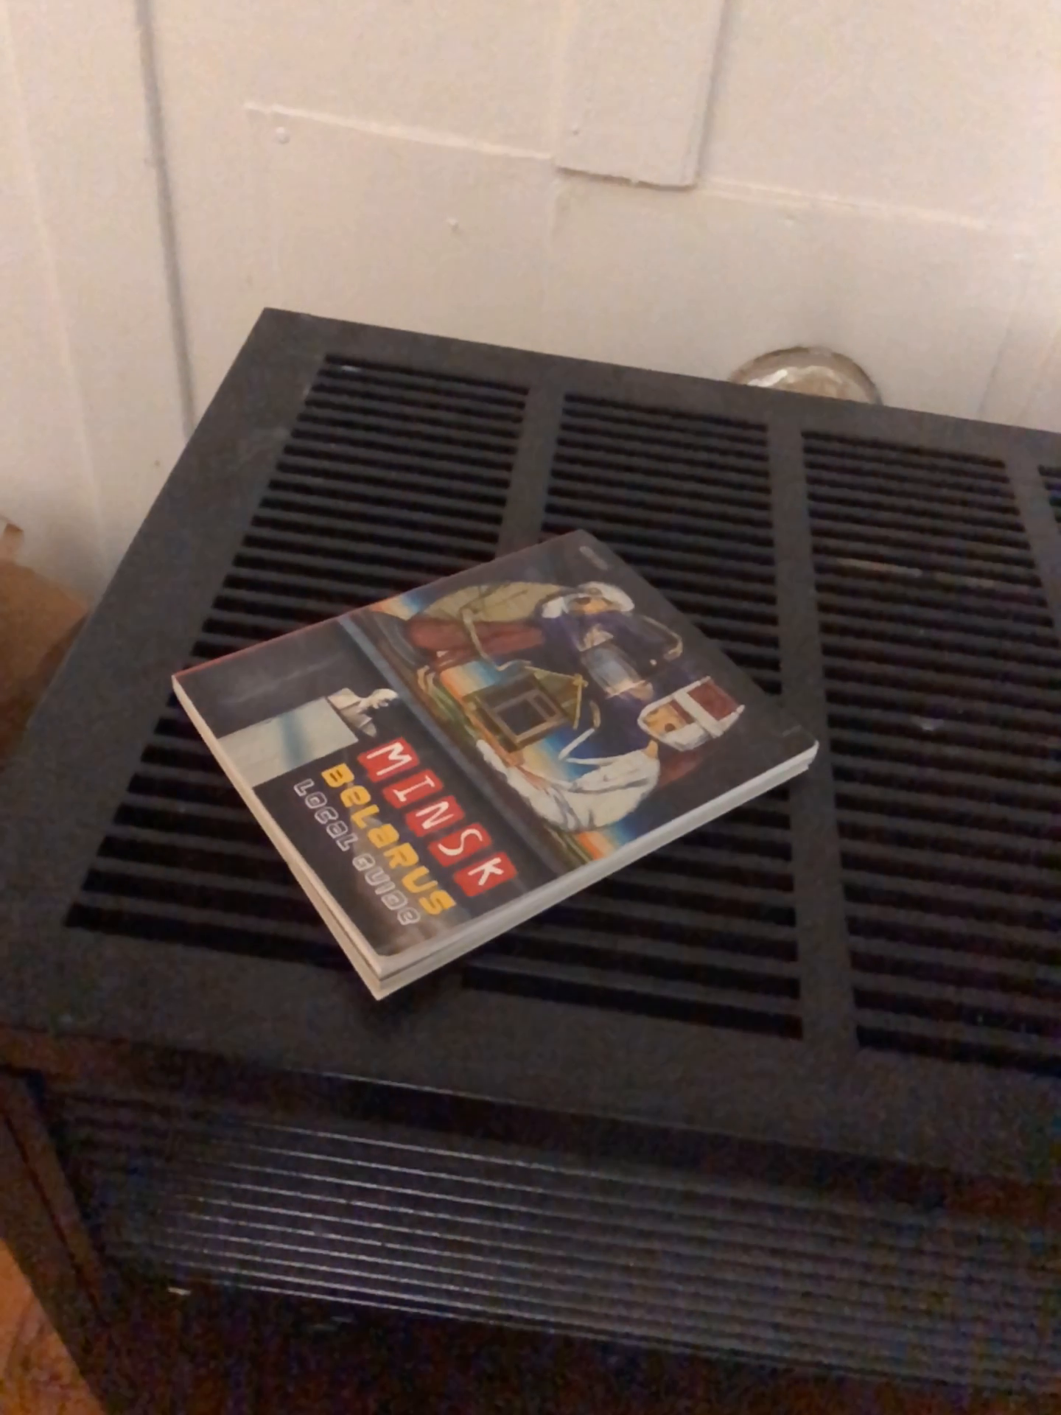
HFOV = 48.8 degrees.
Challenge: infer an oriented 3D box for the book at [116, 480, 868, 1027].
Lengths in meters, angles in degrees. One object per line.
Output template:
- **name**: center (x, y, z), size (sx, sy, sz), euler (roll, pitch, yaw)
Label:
- **book**: center (-0.013, -0.004, 0.403), size (0.200, 0.020, 0.161), euler (-22, 52, -28)
